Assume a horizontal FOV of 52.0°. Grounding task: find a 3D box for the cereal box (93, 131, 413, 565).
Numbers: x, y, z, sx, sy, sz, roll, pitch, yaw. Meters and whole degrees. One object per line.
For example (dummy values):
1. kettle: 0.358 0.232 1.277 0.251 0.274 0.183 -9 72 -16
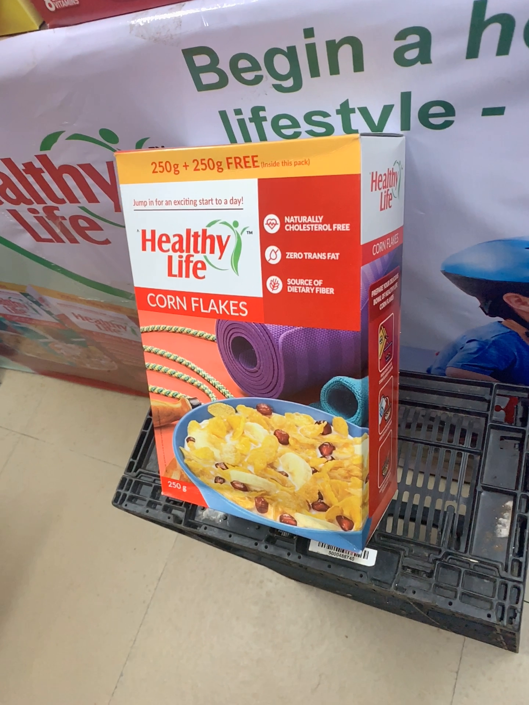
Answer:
1. cereal box: -0.004 -0.010 0.414 0.201 0.280 0.090 8 22 28
